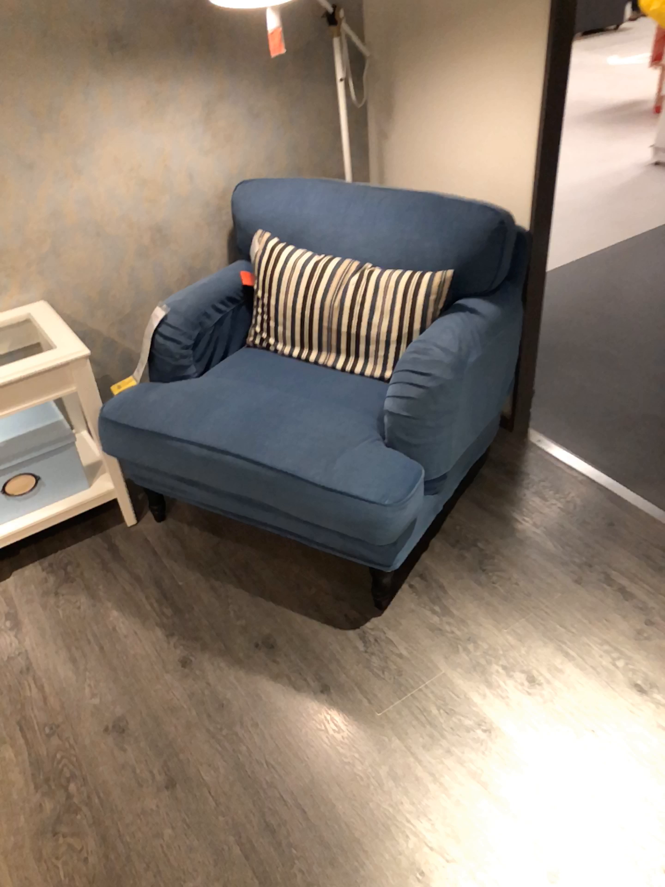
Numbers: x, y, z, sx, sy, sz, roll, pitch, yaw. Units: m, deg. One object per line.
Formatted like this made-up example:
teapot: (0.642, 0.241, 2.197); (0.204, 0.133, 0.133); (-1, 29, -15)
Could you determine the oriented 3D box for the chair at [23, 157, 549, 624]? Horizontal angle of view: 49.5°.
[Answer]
chair: (-0.053, -0.221, 1.821); (0.892, 0.695, 0.804); (16, 41, 26)
